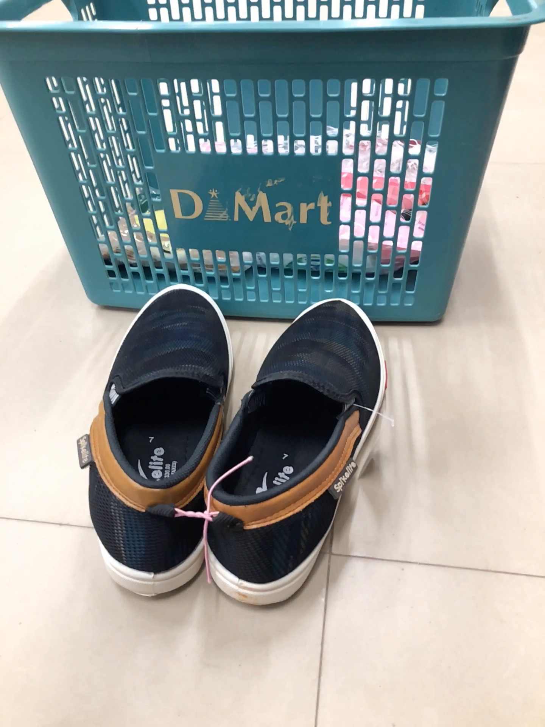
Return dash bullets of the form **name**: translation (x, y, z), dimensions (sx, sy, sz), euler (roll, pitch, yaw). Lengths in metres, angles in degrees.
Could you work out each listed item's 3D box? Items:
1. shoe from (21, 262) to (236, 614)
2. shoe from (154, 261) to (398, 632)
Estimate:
- **shoe**: translation (-0.087, 0.039, 0.446), dimensions (0.105, 0.107, 0.240), euler (-5, 42, -1)
- **shoe**: translation (0.019, 0.042, 0.436), dimensions (0.105, 0.107, 0.240), euler (8, 43, 13)
